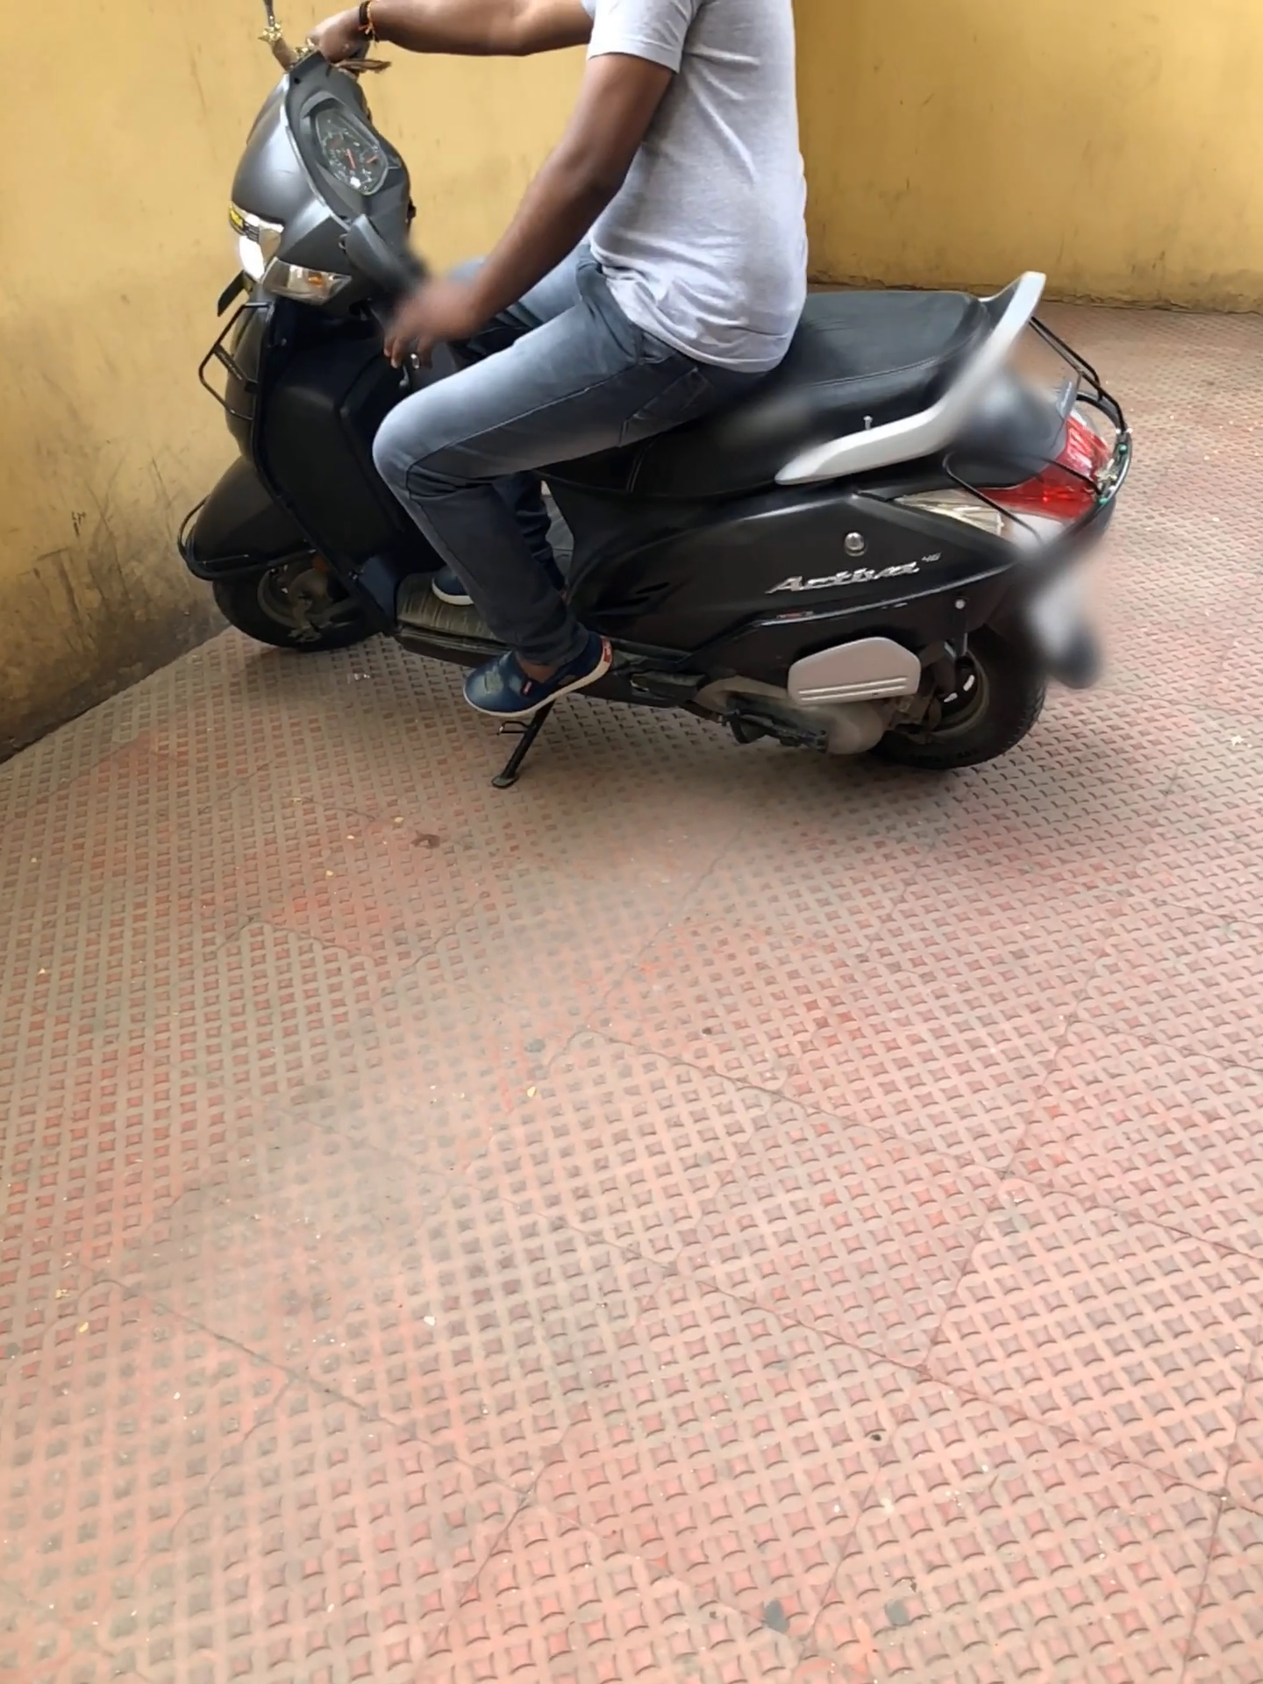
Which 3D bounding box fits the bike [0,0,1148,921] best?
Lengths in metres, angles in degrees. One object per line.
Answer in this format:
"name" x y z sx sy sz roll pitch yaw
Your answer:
"bike" -0.144 -0.606 2.139 1.544 1.016 0.697 9 37 22
